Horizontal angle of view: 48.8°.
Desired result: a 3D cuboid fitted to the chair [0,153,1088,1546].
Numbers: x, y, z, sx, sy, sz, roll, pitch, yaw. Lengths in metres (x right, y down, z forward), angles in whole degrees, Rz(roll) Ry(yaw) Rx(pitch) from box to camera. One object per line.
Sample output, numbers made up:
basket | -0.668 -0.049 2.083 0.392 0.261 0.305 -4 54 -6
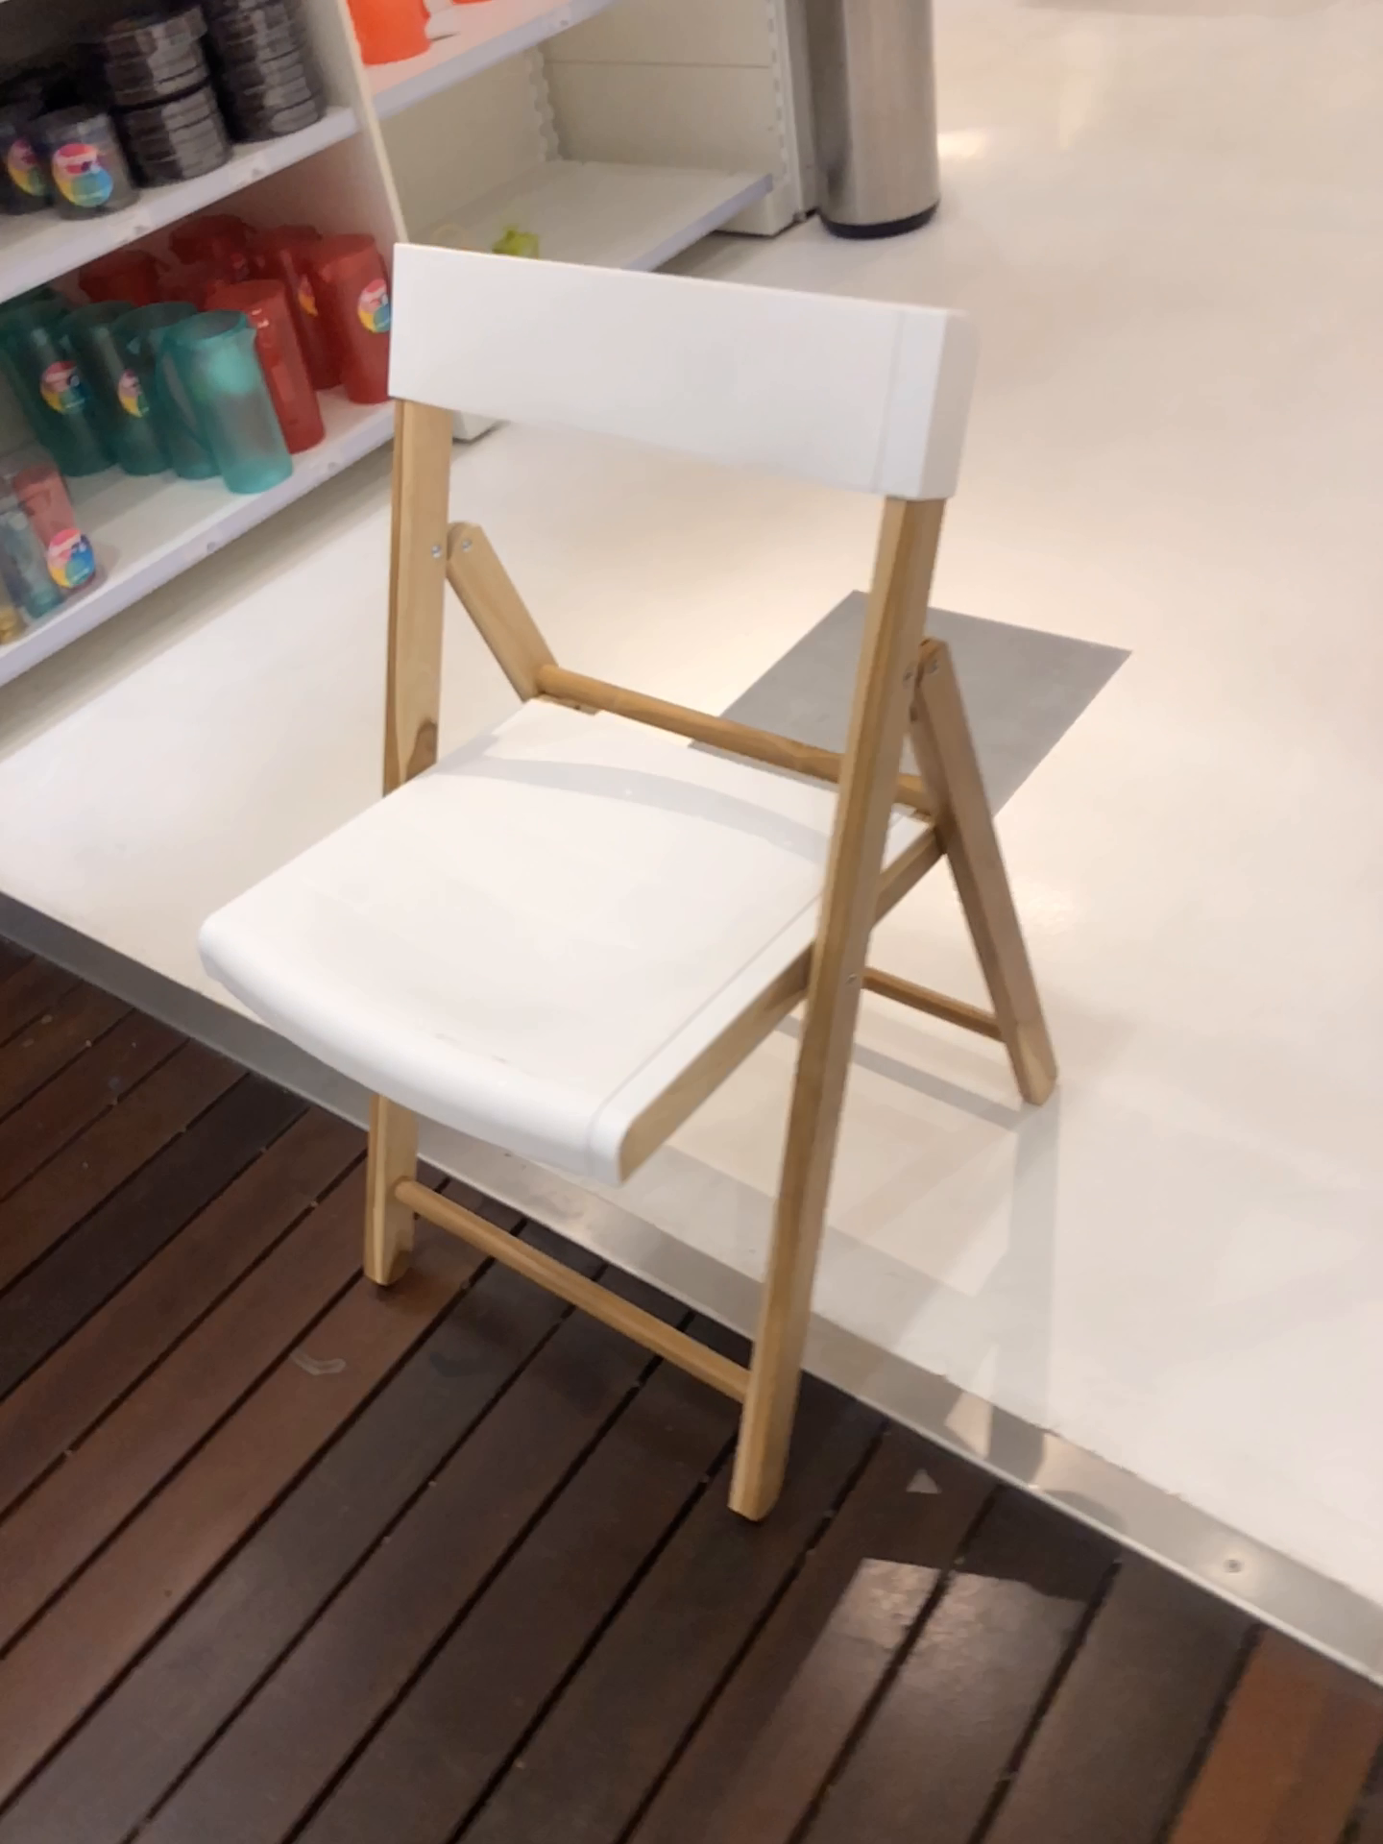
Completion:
chair | -0.053 -0.052 1.087 0.471 0.735 0.512 22 54 32
